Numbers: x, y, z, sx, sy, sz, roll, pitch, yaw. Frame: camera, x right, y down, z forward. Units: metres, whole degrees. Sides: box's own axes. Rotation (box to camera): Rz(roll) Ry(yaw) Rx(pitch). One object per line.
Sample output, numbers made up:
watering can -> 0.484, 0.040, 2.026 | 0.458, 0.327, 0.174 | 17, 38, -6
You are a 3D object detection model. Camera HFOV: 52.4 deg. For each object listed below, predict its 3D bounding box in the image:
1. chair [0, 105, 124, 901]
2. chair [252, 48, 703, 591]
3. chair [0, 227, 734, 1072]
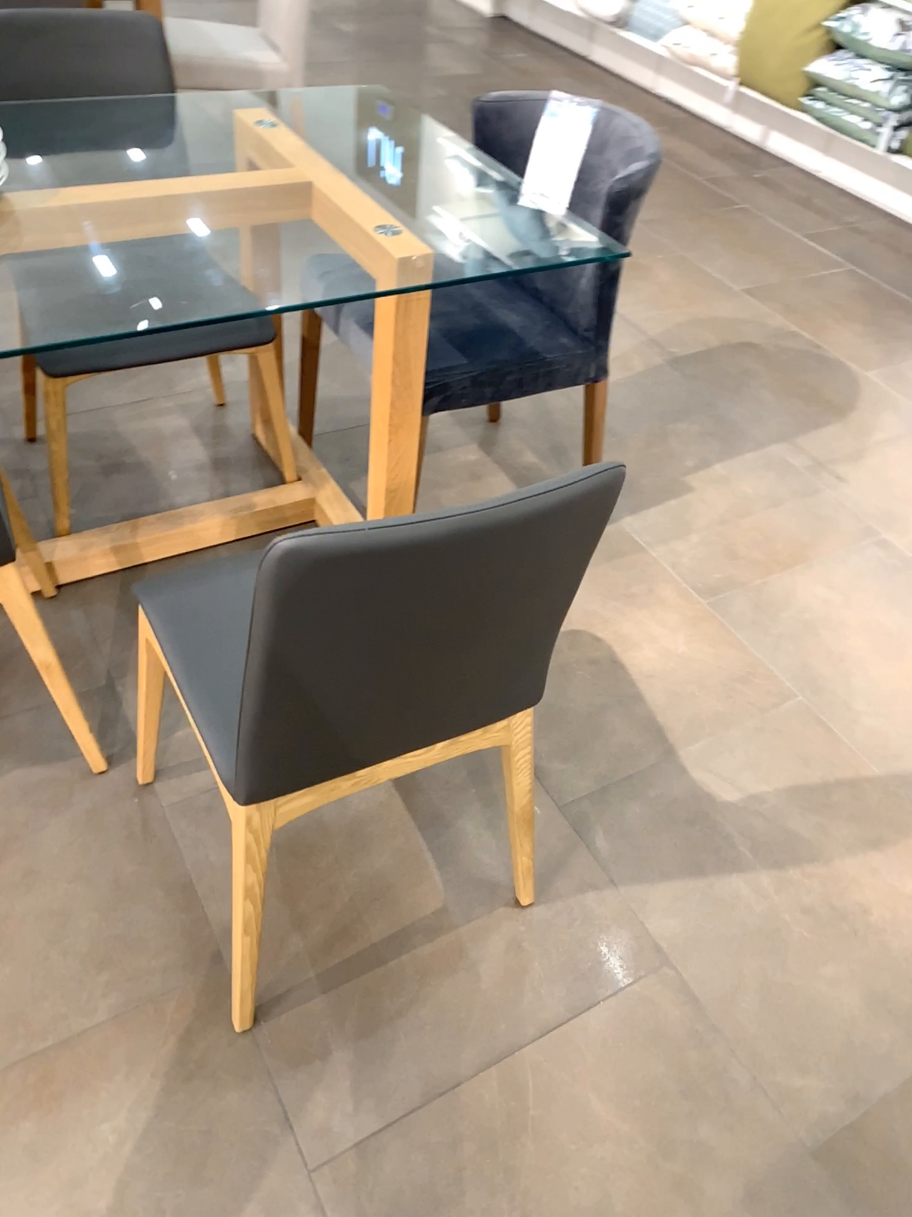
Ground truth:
chair -> -0.843, -0.133, 1.251 | 0.524, 0.833, 0.499 | -18, 49, -26
chair -> -0.007, -0.594, 1.895 | 0.588, 0.814, 0.545 | -22, 51, -28
chair -> -0.156, 0.052, 1.187 | 0.564, 0.814, 0.540 | -16, 48, -24
